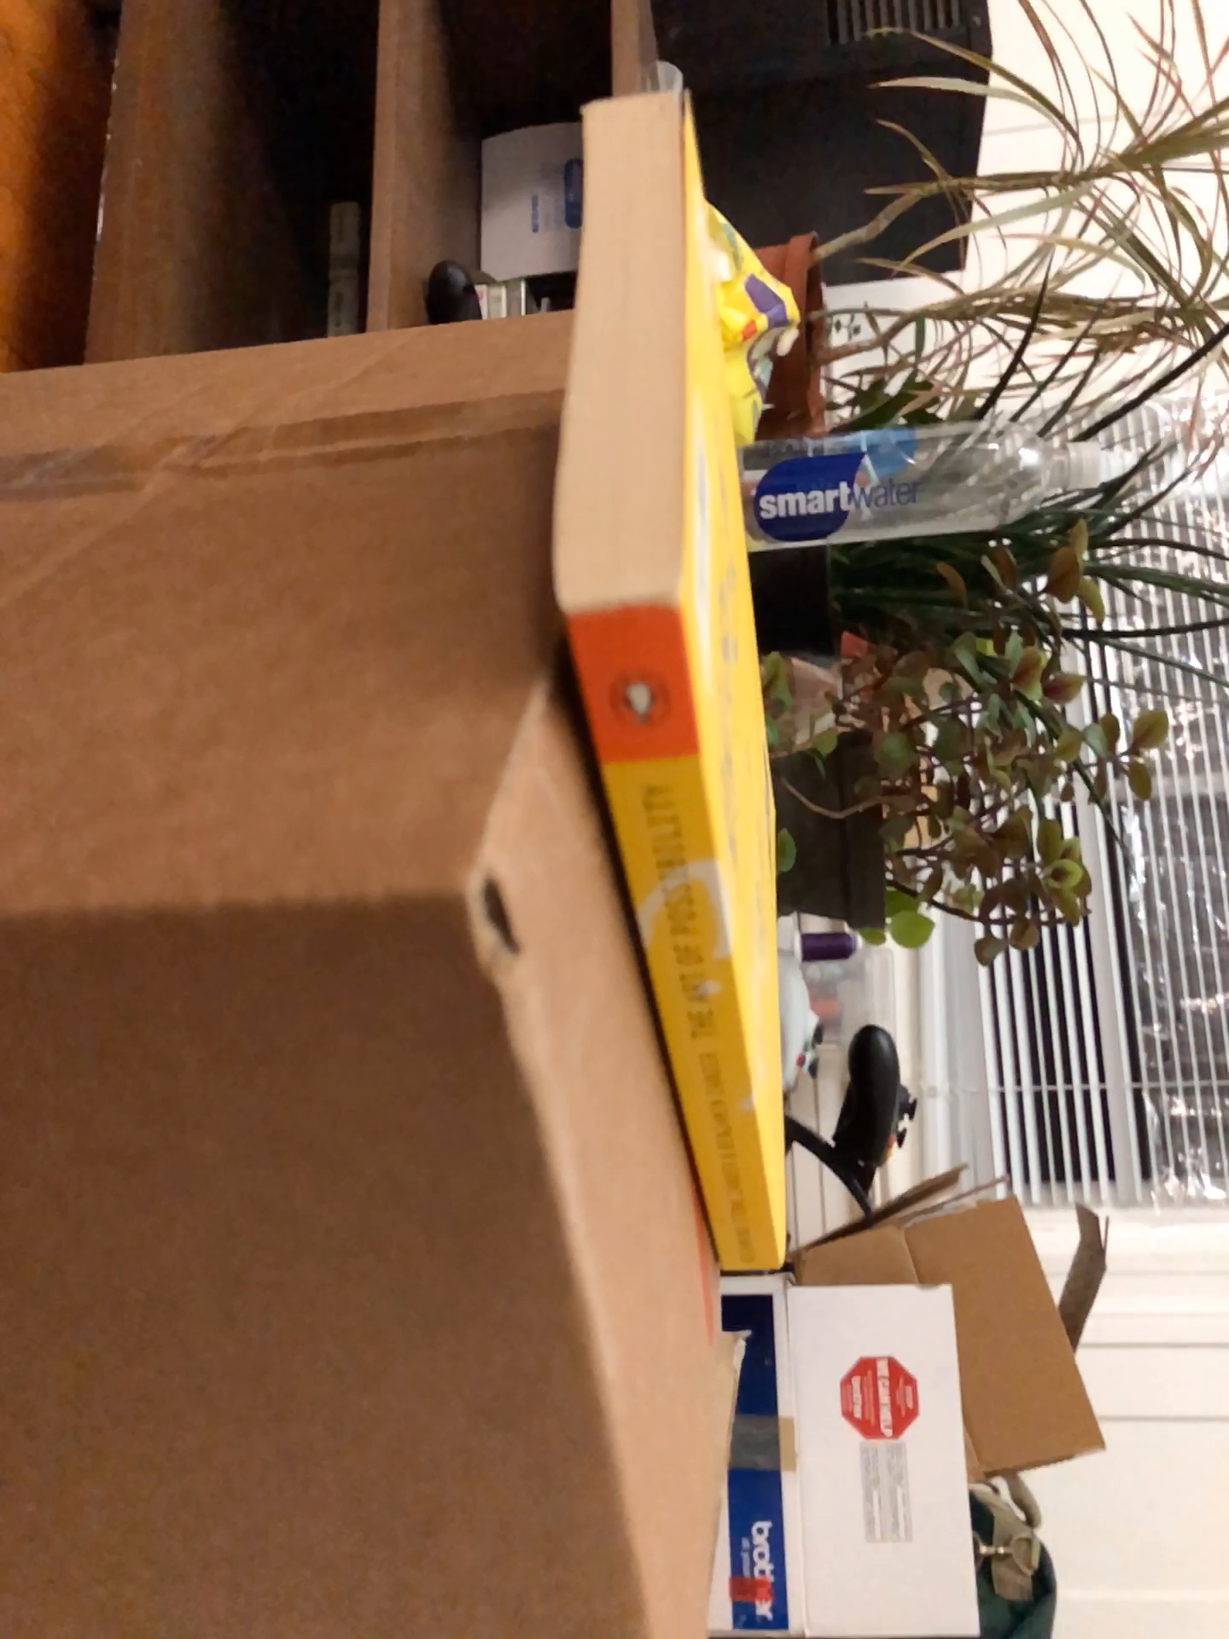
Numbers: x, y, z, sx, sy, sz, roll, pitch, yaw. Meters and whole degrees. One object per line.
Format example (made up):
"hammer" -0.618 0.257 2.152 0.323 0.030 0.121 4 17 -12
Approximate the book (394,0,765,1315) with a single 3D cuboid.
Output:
"book" 0.009 -0.016 0.265 0.210 0.020 0.150 75 15 -49
